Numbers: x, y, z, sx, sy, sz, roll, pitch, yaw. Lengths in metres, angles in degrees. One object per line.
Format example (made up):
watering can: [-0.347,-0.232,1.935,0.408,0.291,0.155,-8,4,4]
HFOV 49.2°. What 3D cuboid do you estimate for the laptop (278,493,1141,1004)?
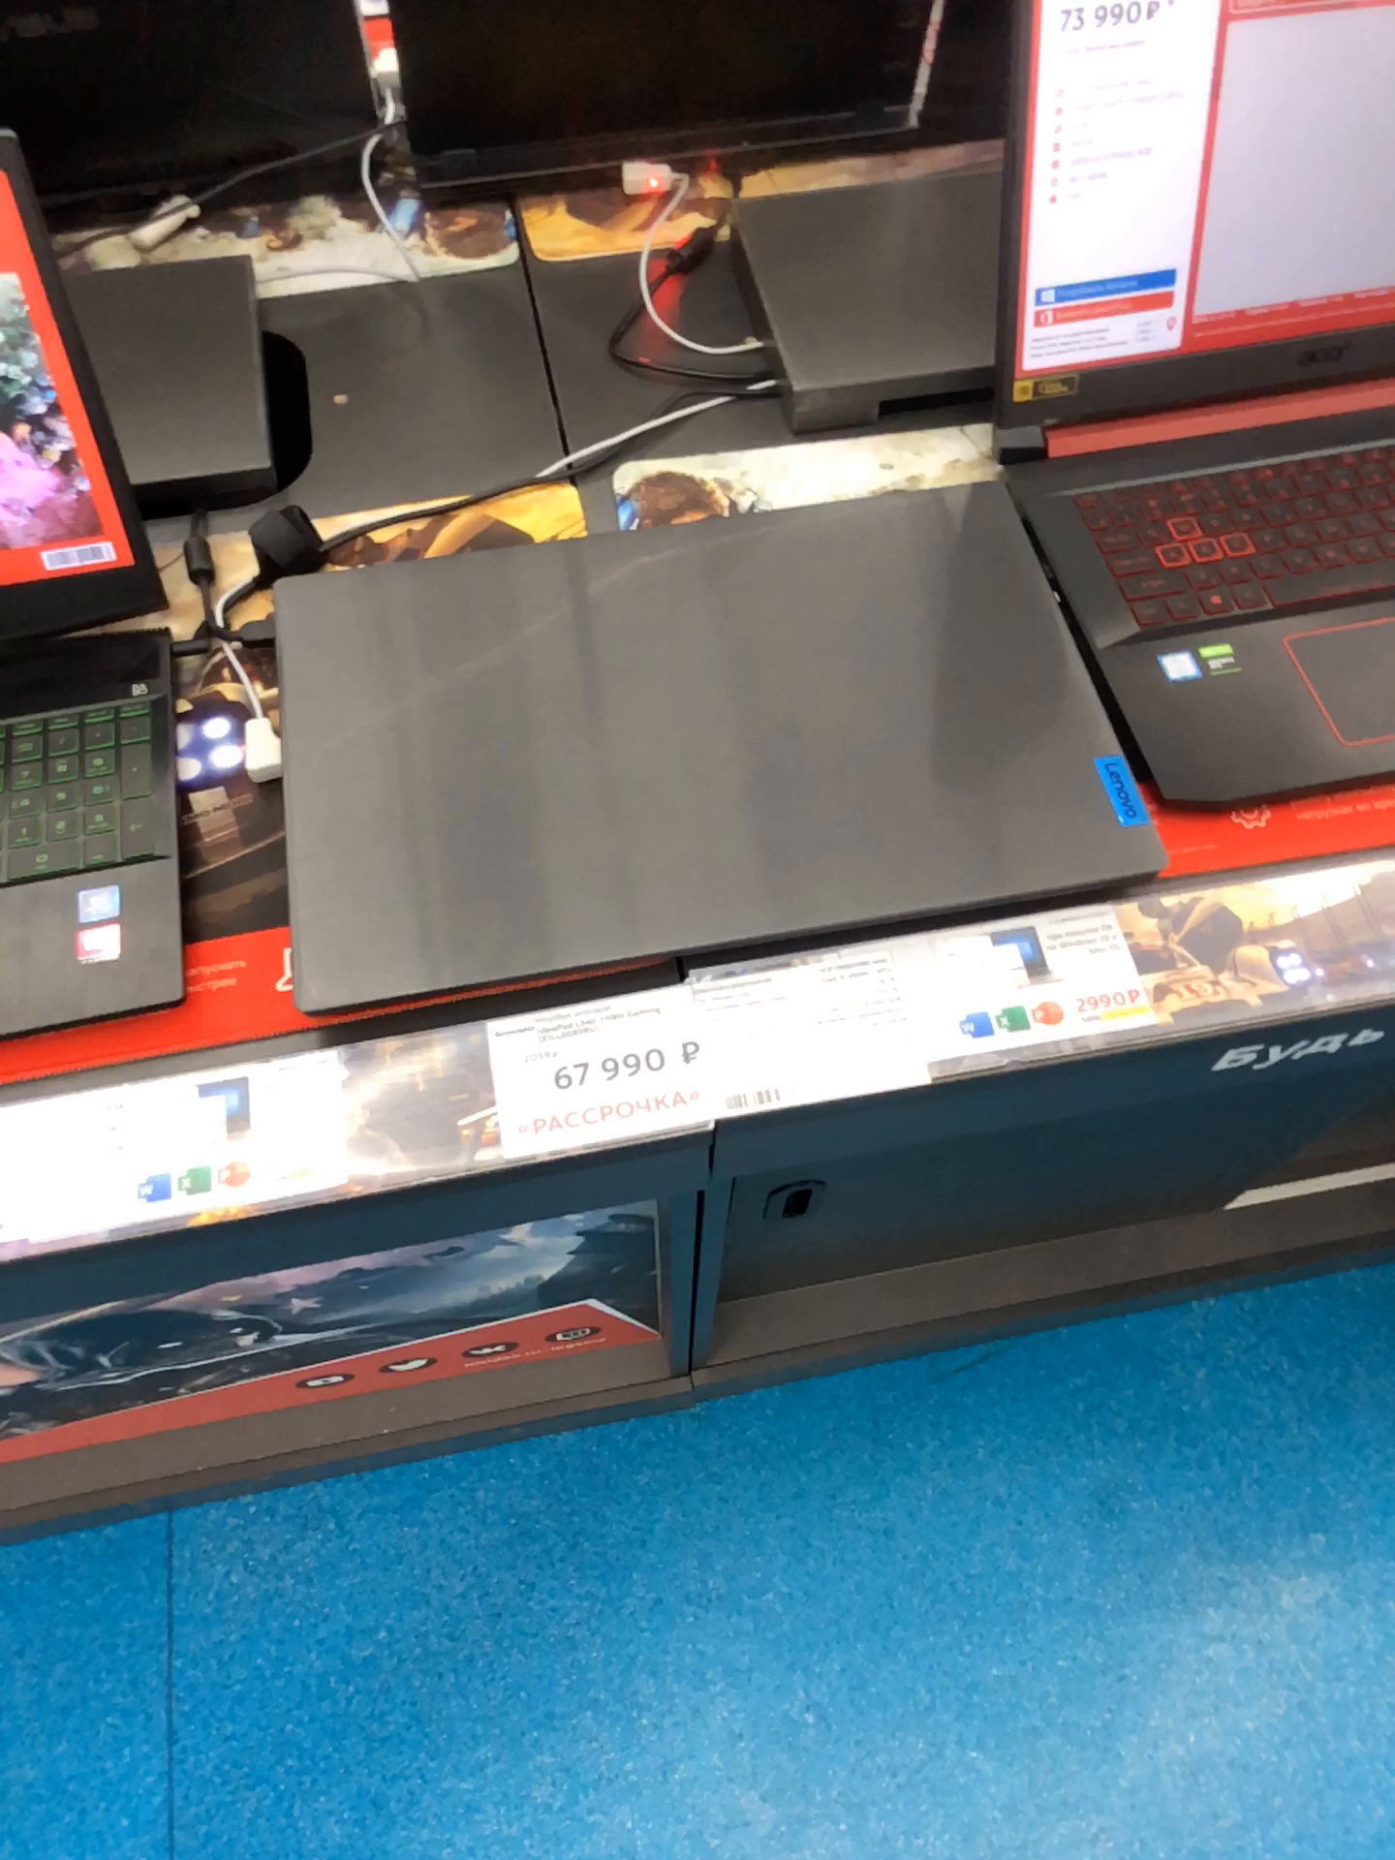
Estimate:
laptop: [-0.008,-0.108,0.776,0.389,0.002,0.269,-10,57,-7]
